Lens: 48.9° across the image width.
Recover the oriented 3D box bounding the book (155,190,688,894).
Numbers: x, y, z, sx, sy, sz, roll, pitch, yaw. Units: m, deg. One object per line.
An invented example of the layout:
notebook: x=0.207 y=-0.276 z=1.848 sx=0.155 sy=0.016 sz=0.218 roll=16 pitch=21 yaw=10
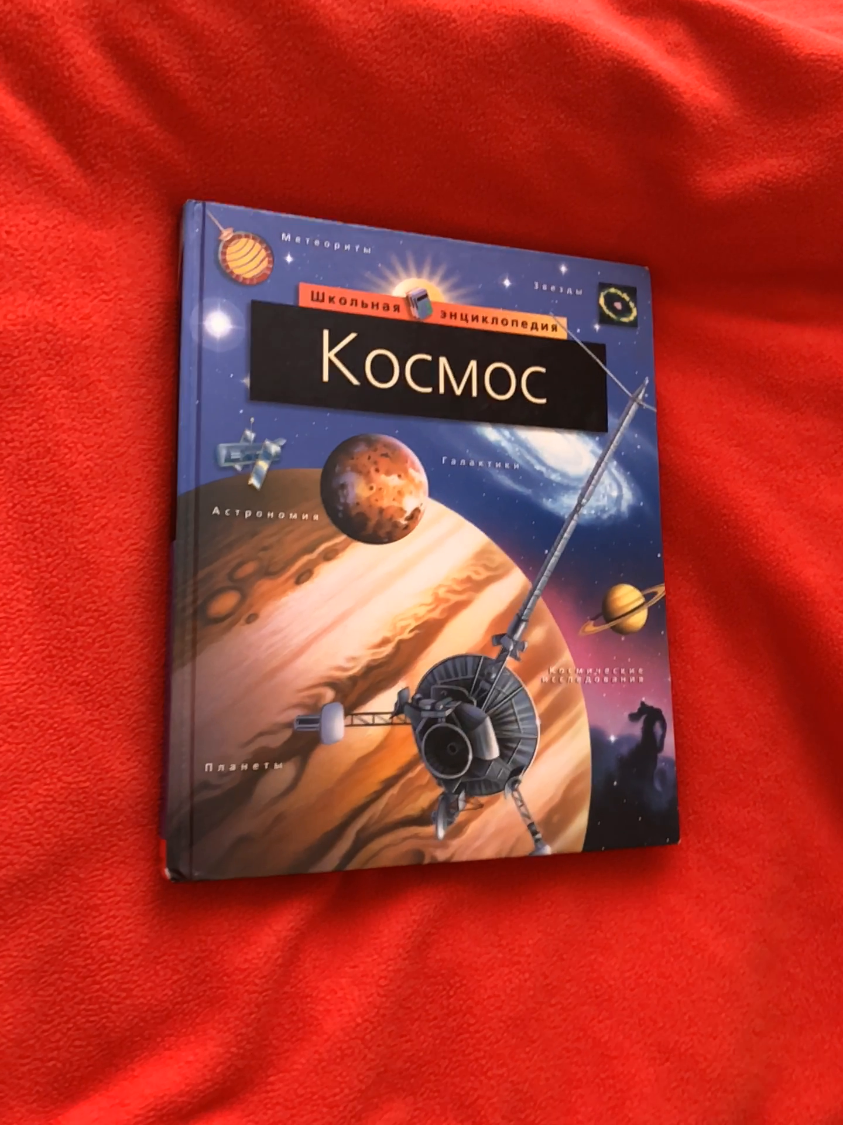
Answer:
book: x=0.005 y=-0.010 z=0.423 sx=0.235 sy=0.030 sz=0.284 roll=2 pitch=82 yaw=-19
